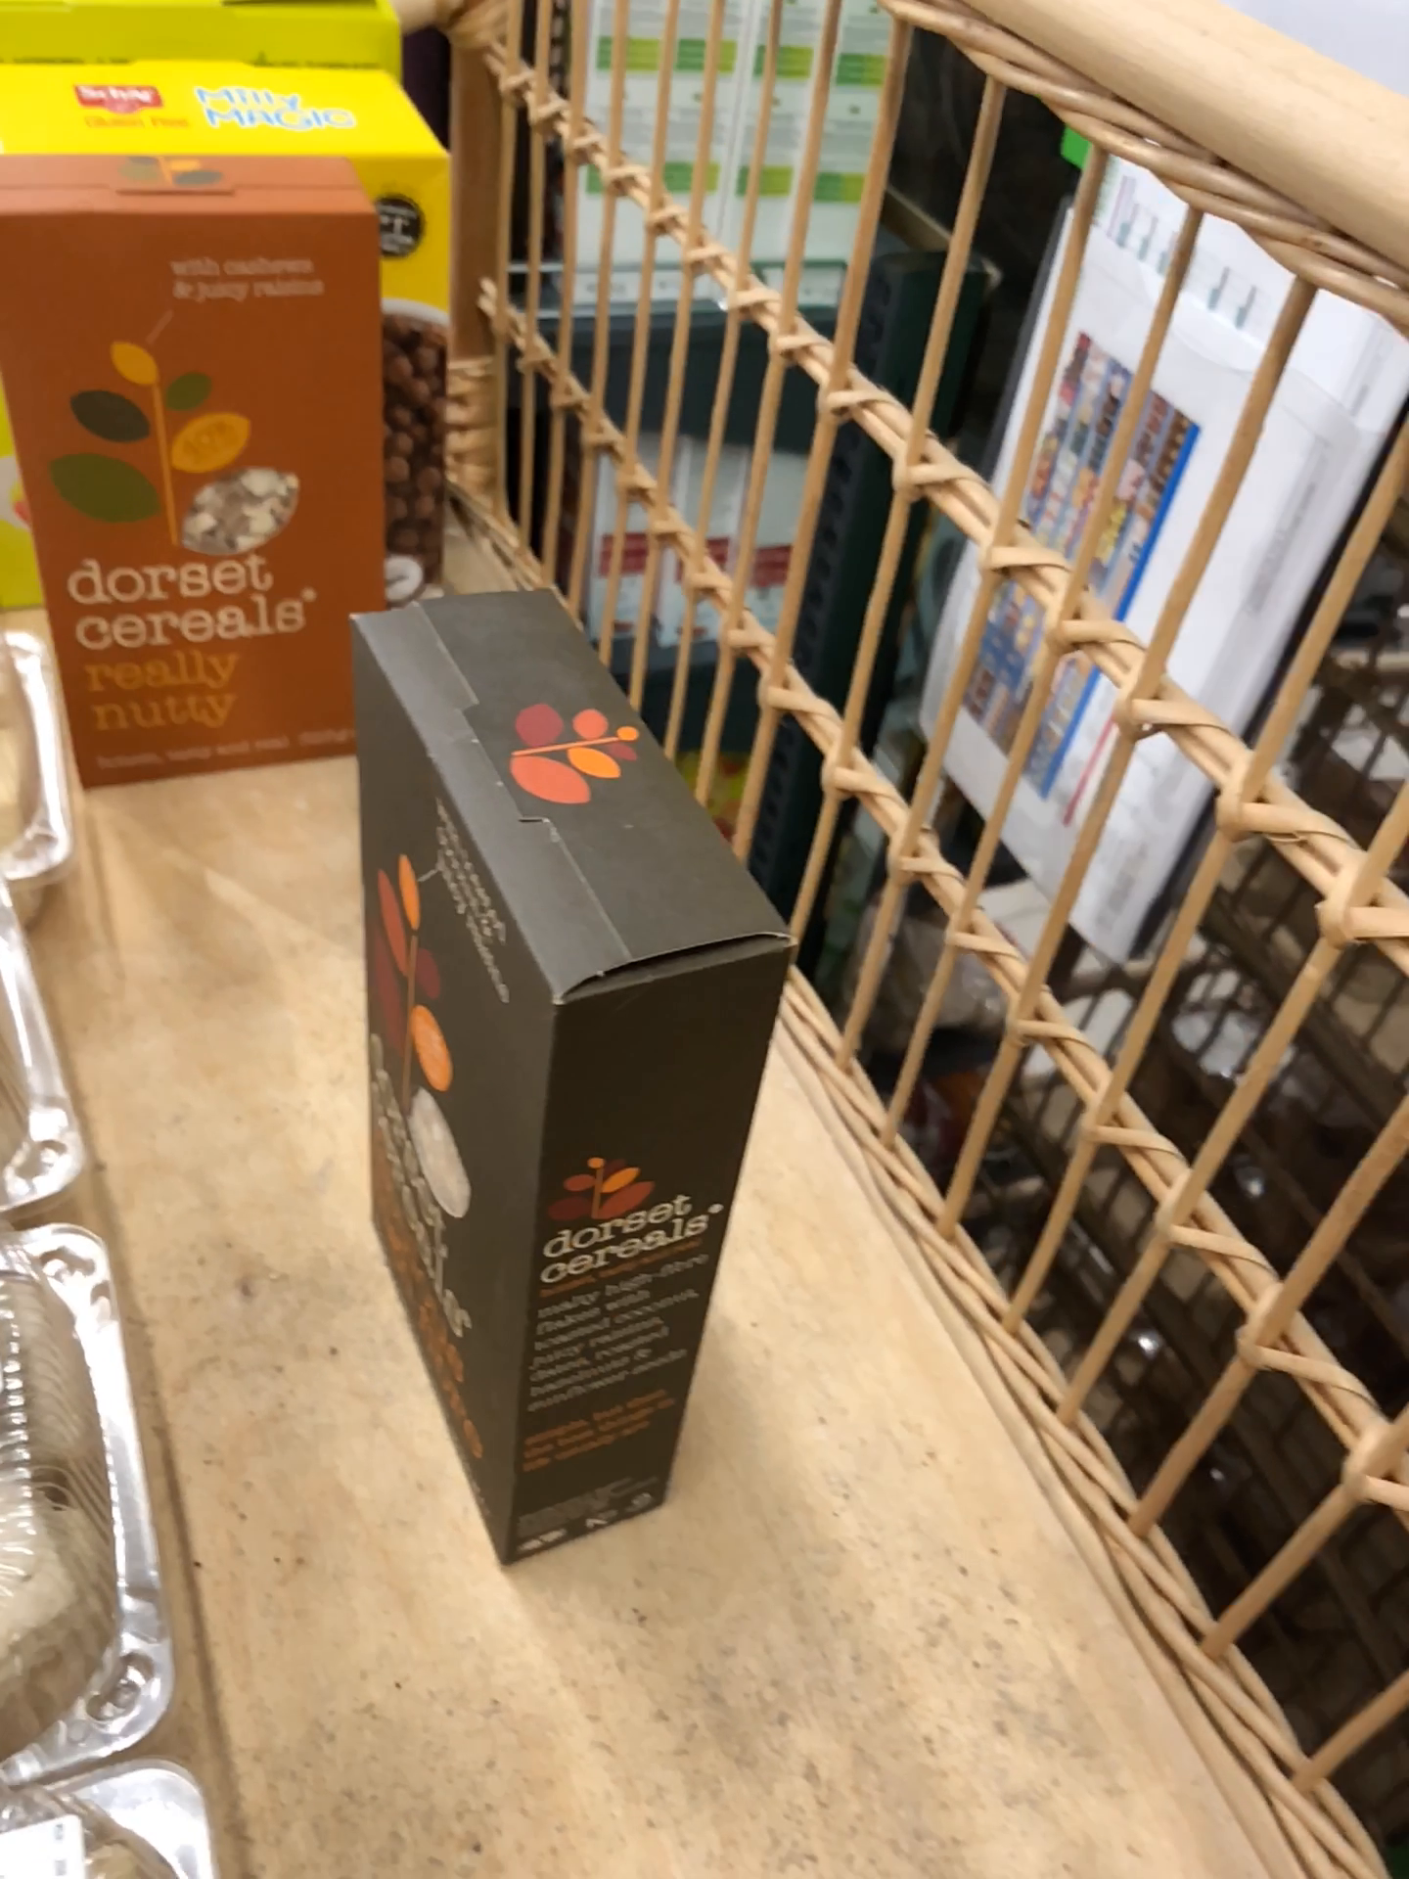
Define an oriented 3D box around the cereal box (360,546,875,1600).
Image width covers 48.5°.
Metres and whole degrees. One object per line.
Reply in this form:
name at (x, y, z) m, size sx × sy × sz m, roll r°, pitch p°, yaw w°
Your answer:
cereal box at (-0.036, 0.038, 0.361) m, size 0.050 × 0.209 × 0.131 m, roll -12°, pitch 48°, yaw -23°
